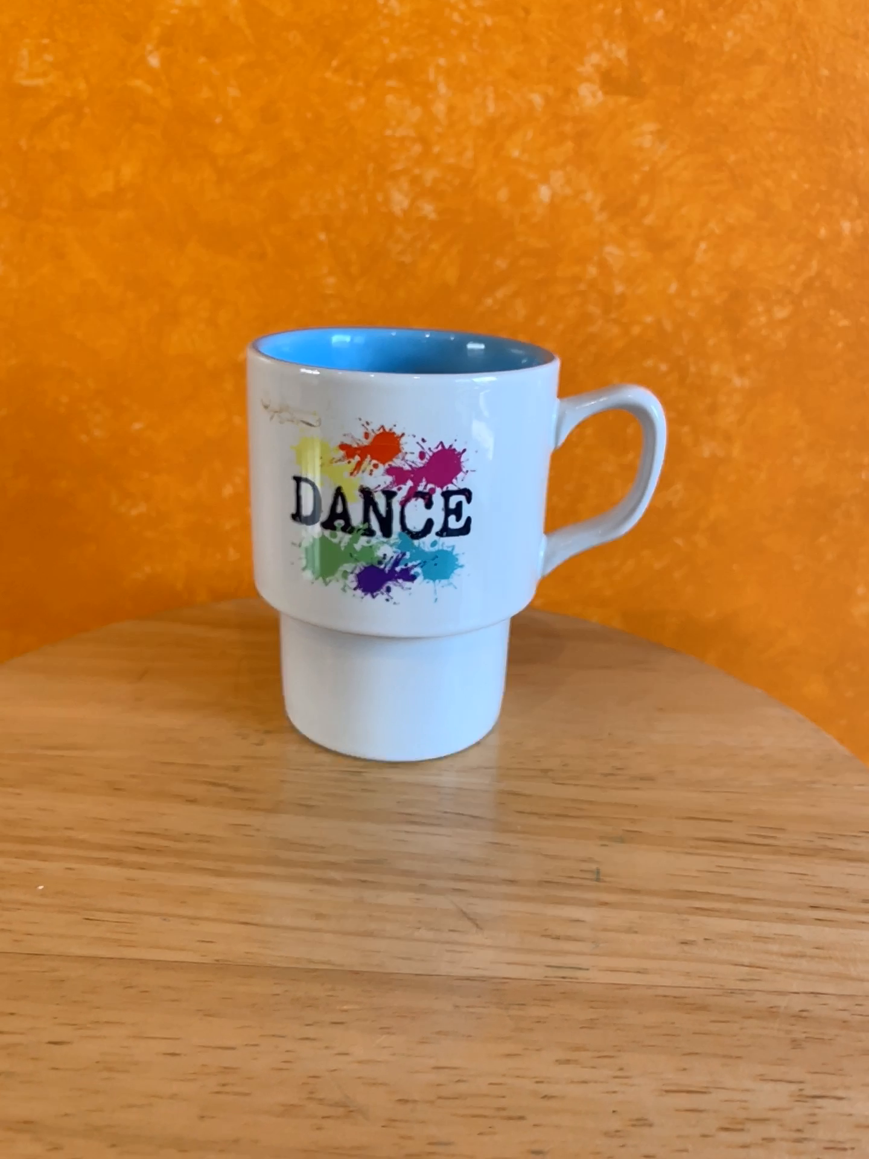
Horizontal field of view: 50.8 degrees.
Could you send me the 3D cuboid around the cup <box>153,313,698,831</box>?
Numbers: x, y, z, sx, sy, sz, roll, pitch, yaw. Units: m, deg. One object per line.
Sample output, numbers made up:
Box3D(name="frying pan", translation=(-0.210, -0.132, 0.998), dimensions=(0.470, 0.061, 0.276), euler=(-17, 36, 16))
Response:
Box3D(name="cup", translation=(0.000, -0.009, 0.254), dimensions=(0.120, 0.109, 0.080), euler=(7, 22, 8))
